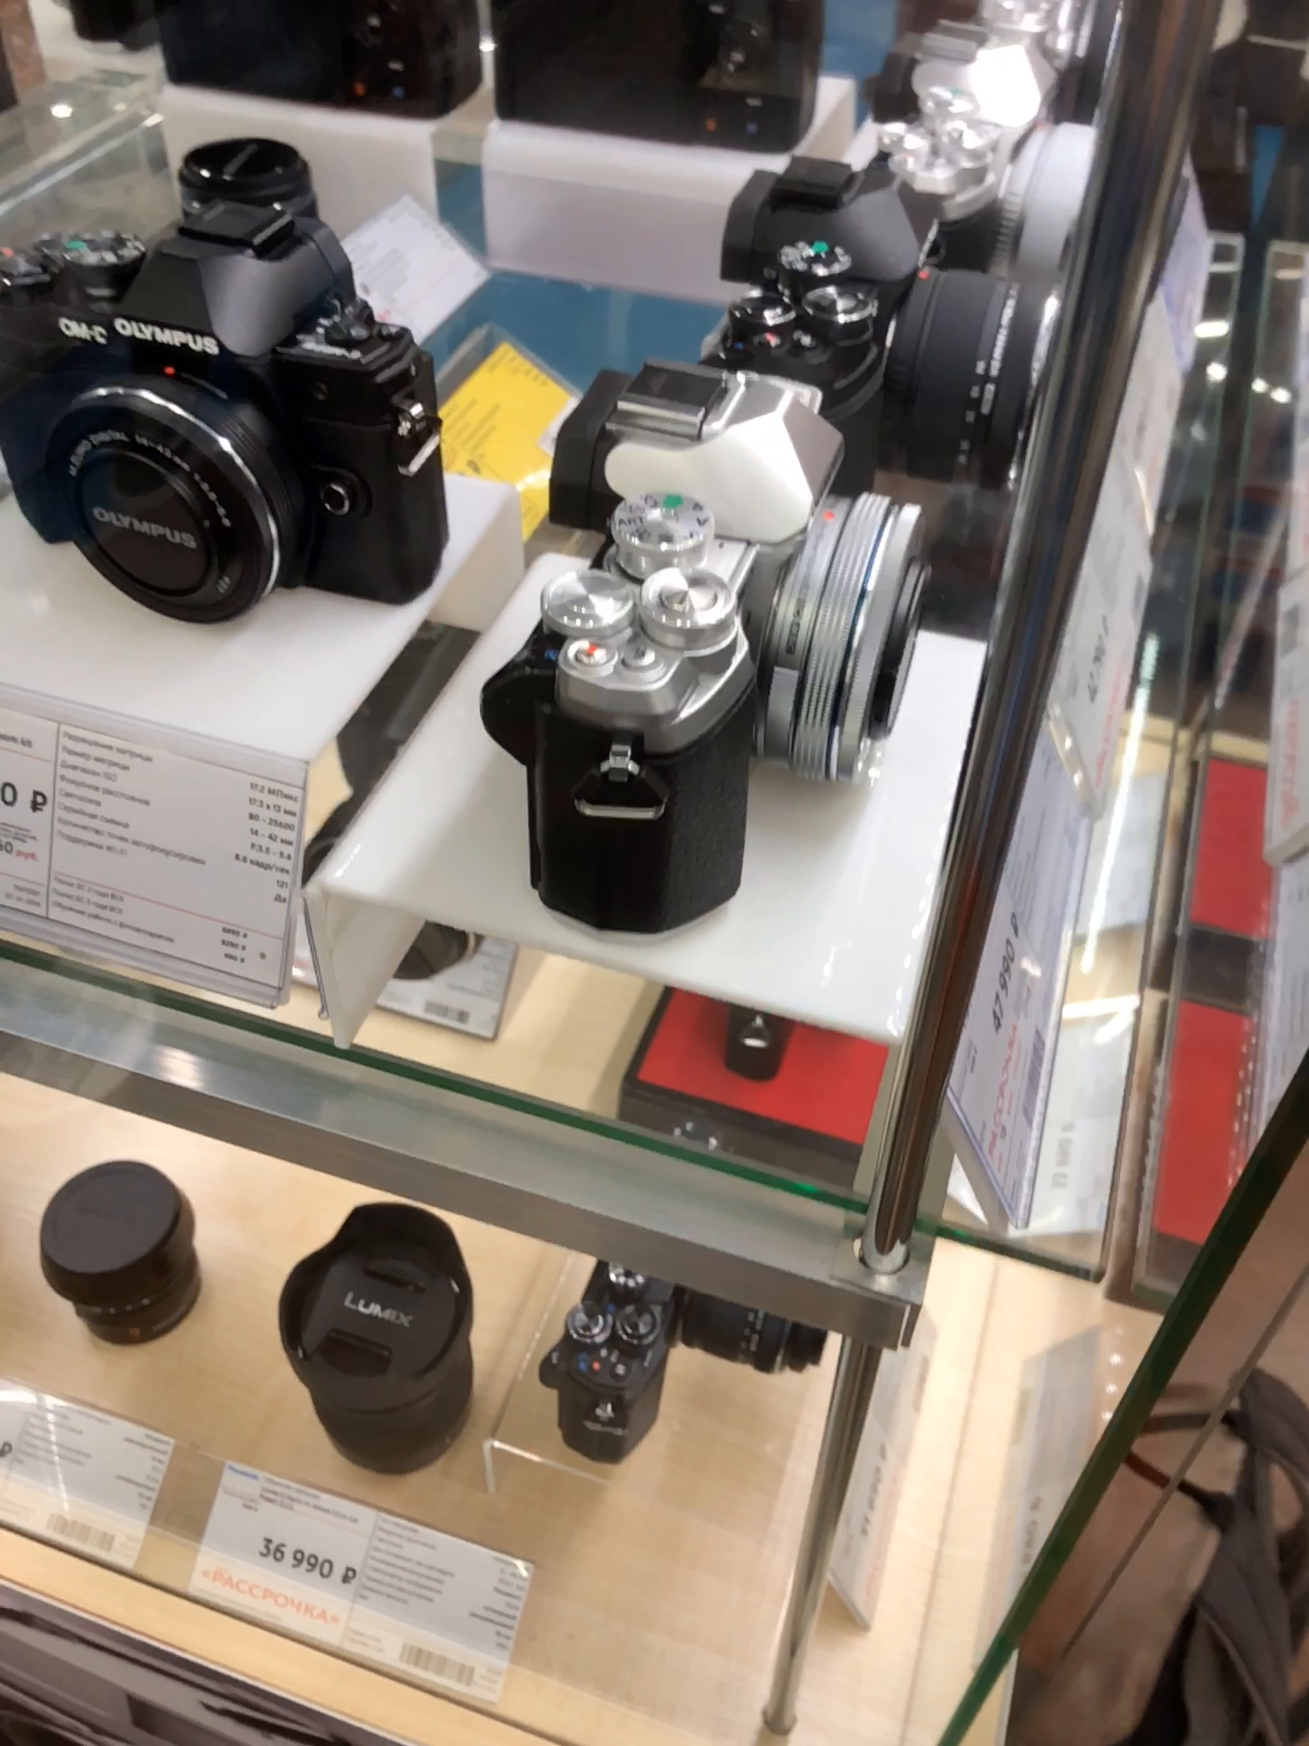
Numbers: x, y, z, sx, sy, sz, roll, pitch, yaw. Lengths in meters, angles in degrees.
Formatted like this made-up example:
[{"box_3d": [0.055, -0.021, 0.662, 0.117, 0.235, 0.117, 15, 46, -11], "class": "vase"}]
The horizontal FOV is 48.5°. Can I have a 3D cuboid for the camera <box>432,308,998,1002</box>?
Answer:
[{"box_3d": [0.017, -0.049, 0.287, 0.073, 0.067, 0.123, 13, 45, 12], "class": "camera"}]

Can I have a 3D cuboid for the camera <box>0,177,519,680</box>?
[{"box_3d": [-0.099, -0.106, 0.338, 0.109, 0.068, 0.079, 14, 46, 13], "class": "camera"}]
